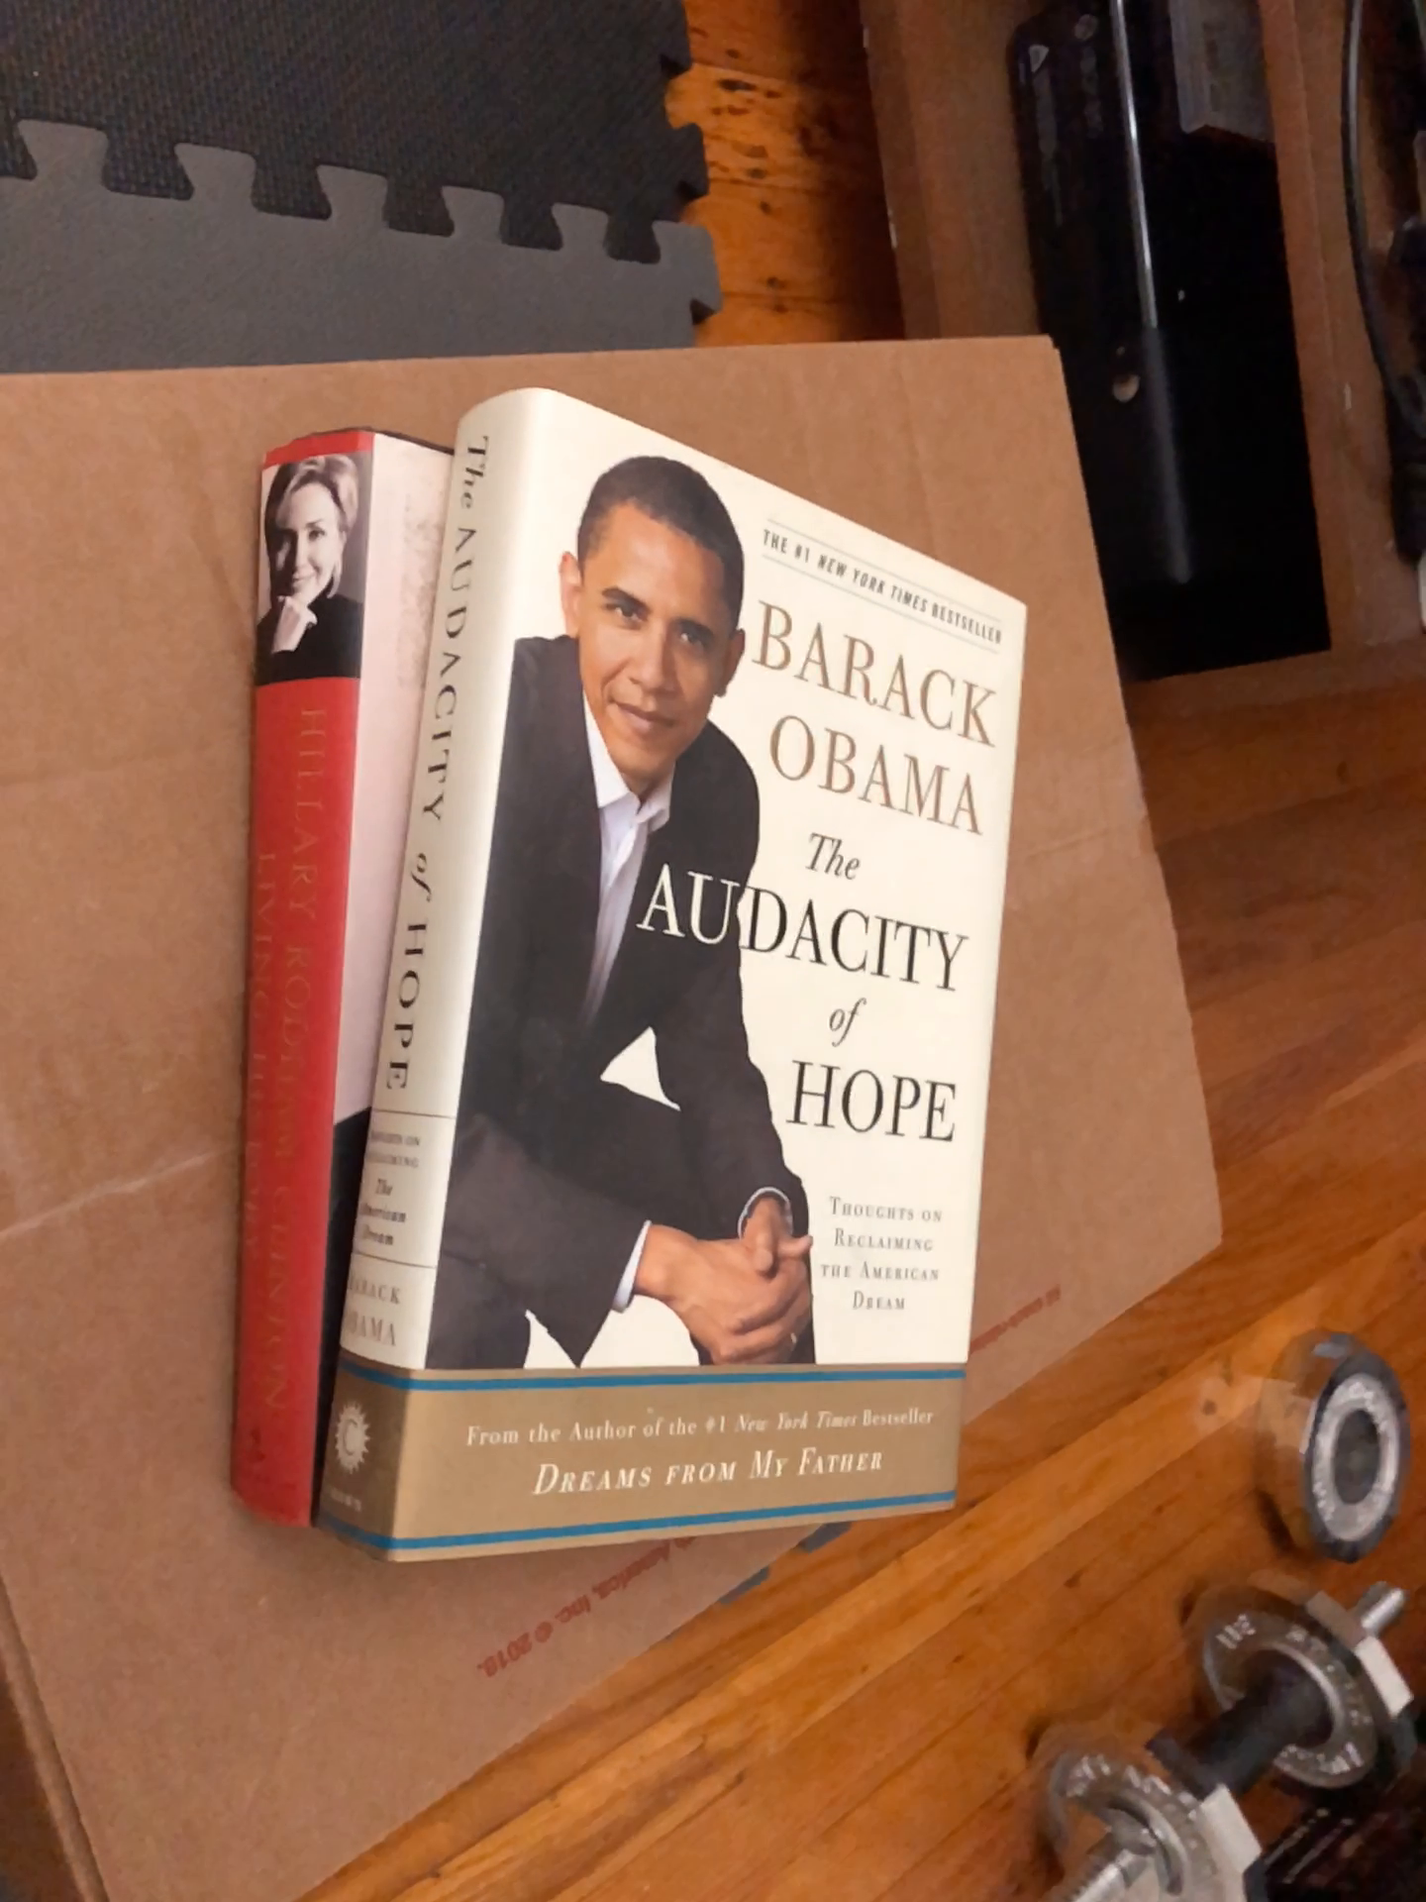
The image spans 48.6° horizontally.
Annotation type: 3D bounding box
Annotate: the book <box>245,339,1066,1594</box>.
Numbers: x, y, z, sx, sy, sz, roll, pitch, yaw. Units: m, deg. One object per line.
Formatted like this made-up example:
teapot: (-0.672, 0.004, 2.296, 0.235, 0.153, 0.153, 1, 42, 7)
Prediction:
book: (0.002, 0.012, 0.386, 0.191, 0.040, 0.250, 12, 81, -39)

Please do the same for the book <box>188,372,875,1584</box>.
book: (-0.036, 0.008, 0.396, 0.171, 0.040, 0.250, 4, 86, -40)
